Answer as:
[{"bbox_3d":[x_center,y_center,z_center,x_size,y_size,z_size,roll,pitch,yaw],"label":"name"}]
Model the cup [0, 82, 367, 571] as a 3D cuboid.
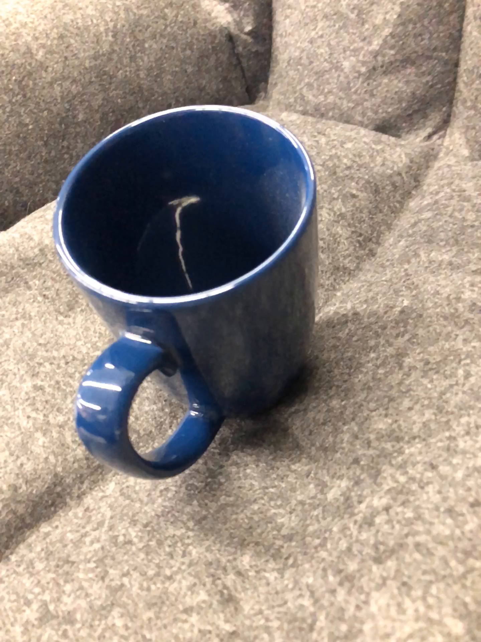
[{"bbox_3d":[-0.018,0.000,0.205,0.090,0.109,0.130,18,59,23],"label":"cup"}]
